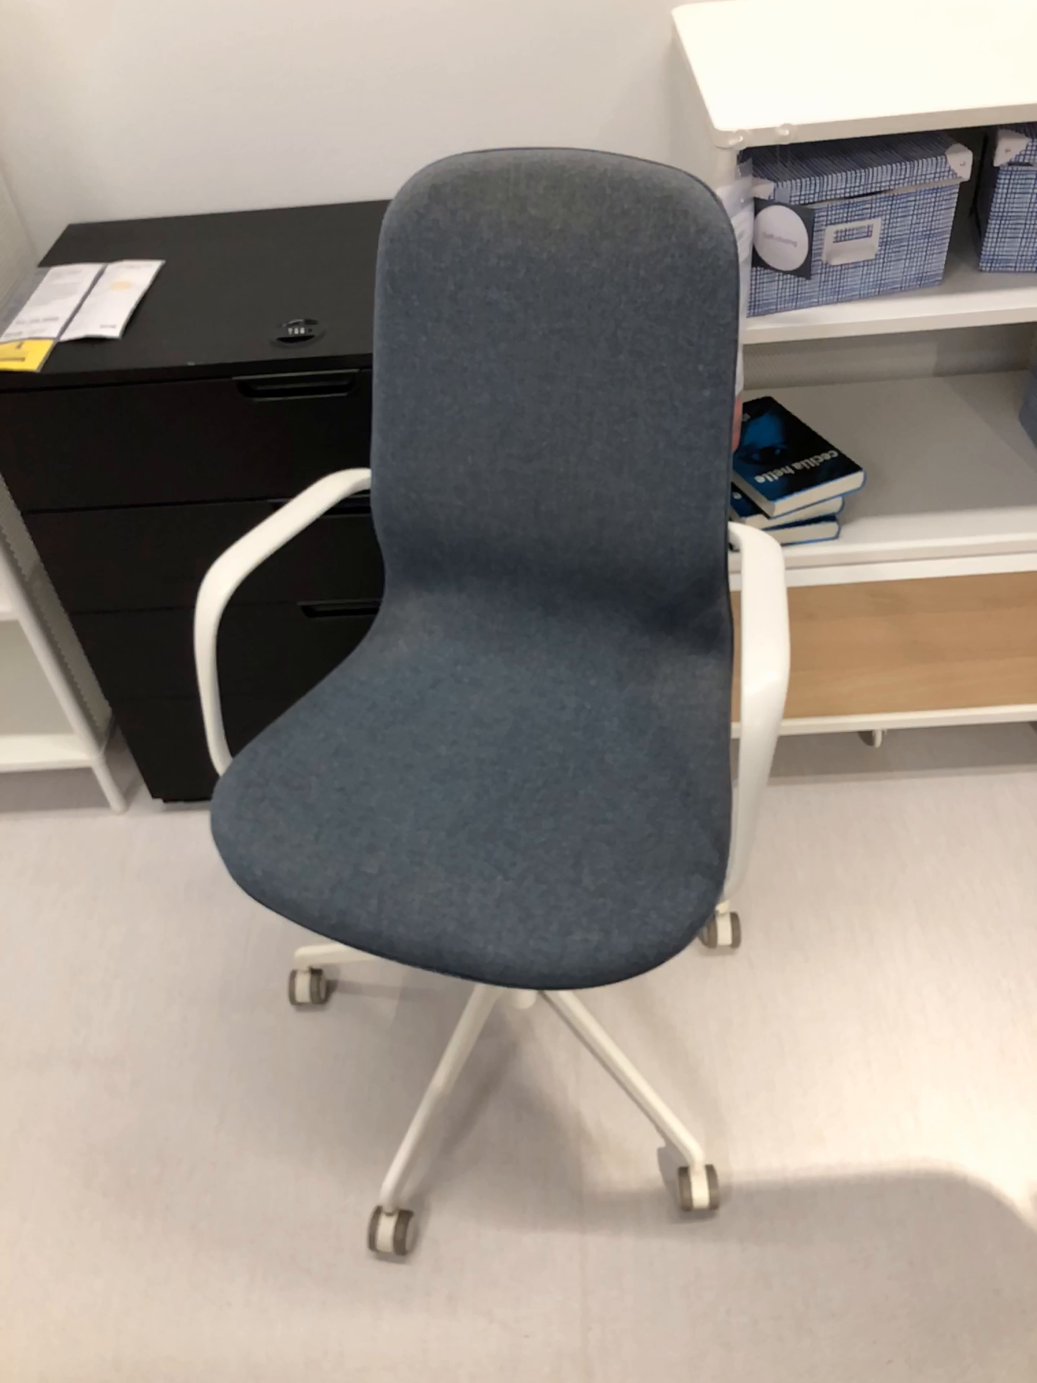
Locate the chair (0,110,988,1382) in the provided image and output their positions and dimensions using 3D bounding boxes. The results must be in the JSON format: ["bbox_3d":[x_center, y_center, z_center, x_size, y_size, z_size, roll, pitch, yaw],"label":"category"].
[{"bbox_3d":[-0.046,0.071,1.186,0.701,0.993,0.703,16,48,22],"label":"chair"}]
